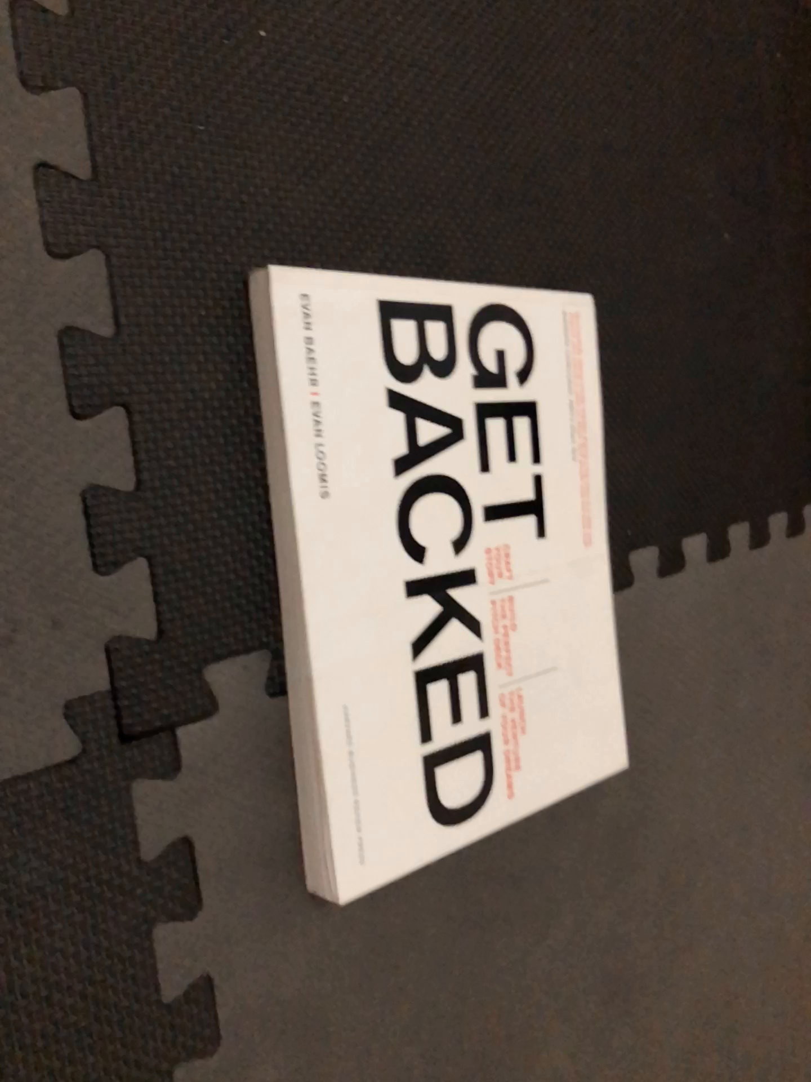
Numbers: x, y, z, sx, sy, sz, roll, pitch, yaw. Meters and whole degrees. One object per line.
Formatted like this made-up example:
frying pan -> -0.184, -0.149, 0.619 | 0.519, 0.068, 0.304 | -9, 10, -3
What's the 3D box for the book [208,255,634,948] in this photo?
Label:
book -> 0.023, 0.014, 0.410 | 0.211, 0.020, 0.260 | -9, 96, -40
